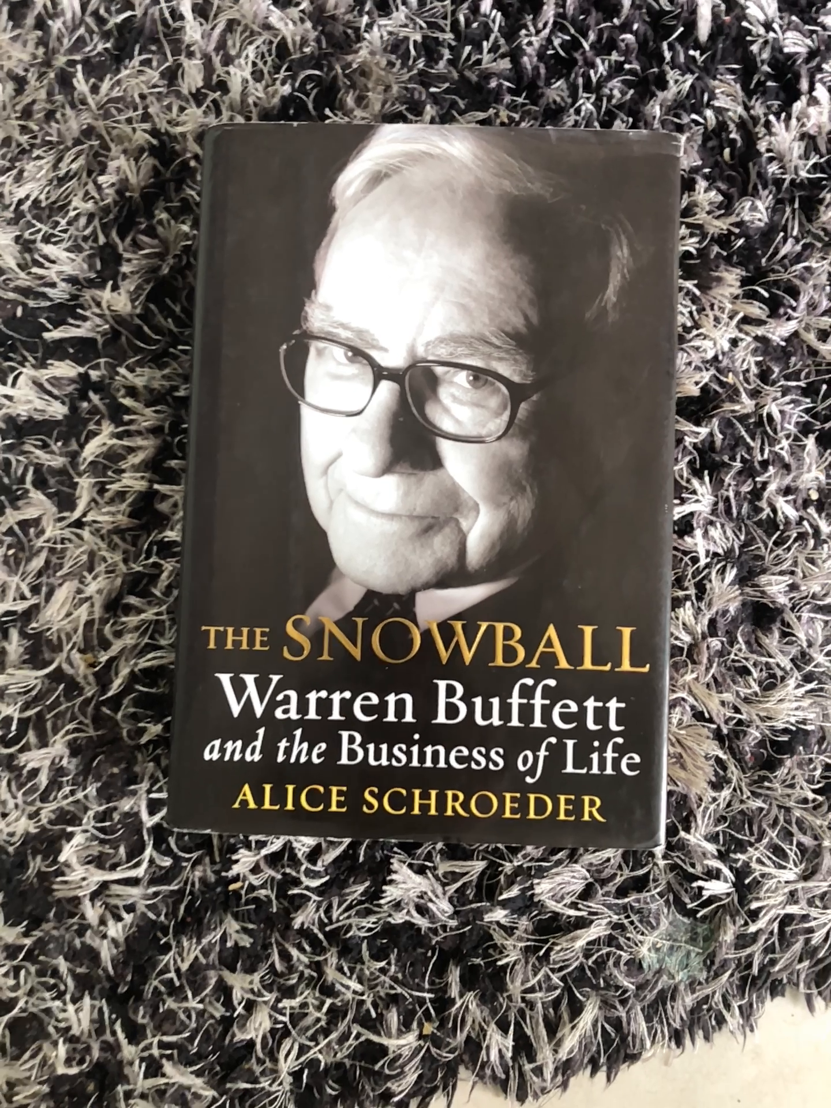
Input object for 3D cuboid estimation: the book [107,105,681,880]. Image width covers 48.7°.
[{"bbox_3d":[-0.005,-0.022,0.332,0.180,0.060,0.250,2,87,0],"label":"book"}]
